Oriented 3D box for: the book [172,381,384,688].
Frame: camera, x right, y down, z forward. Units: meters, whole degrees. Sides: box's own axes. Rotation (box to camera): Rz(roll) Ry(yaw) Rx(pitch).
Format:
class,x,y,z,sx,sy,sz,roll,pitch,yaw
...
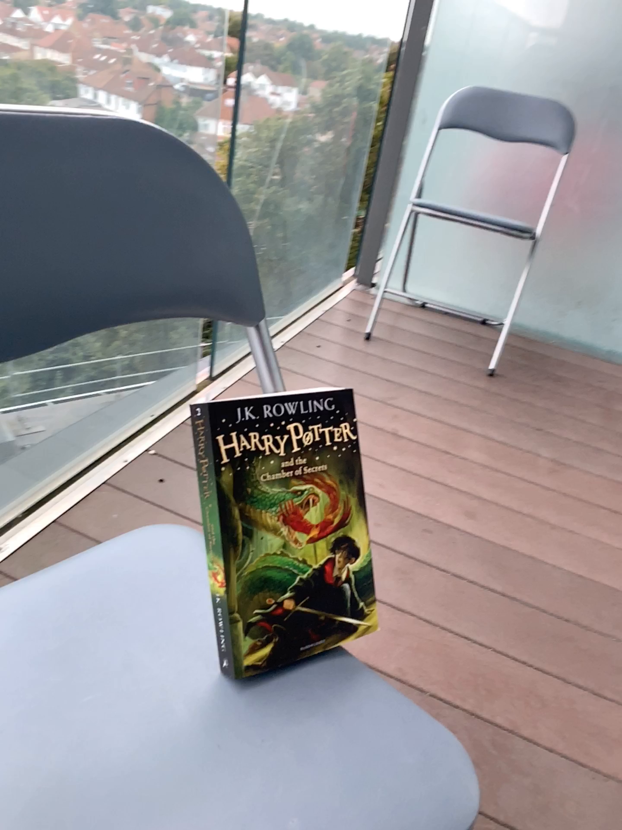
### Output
class,x,y,z,sx,sy,sz,roll,pitch,yaw
book,-0.021,0.082,0.489,0.140,0.200,0.040,-9,6,-30
